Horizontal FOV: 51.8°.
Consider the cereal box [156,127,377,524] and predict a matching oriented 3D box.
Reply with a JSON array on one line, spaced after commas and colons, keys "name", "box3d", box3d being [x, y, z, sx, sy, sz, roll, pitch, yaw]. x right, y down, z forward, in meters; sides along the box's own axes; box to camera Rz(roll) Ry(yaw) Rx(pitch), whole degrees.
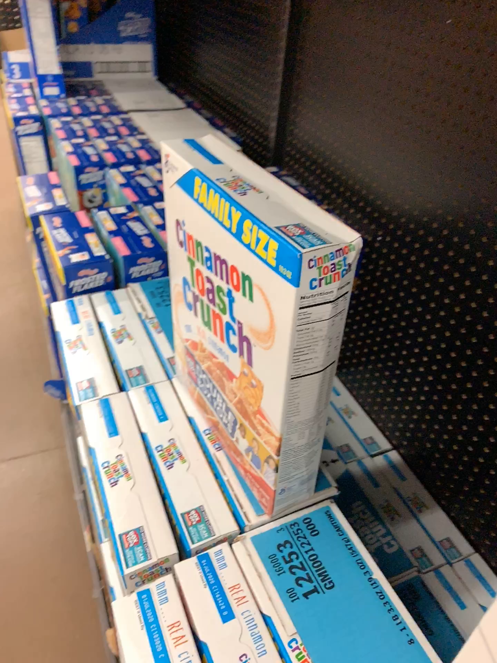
[{"name": "cereal box", "box3d": [-0.008, -0.007, 0.498, 0.060, 0.298, 0.241, -17, 42, -25]}]
